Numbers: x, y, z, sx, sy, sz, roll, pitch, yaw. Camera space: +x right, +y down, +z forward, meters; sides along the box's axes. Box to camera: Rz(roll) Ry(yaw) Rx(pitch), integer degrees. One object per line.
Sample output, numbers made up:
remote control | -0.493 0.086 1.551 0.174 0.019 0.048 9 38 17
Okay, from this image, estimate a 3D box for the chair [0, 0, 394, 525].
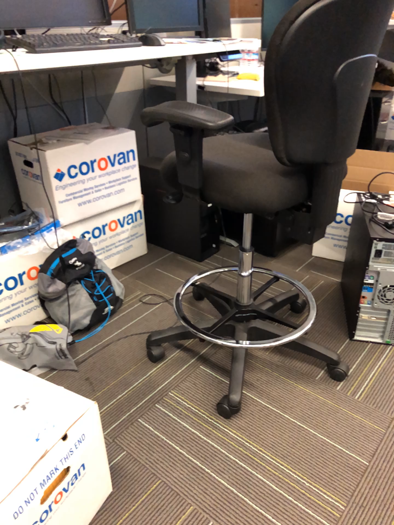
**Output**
chair | 0.070 -0.188 1.281 0.962 1.104 0.893 20 35 33
